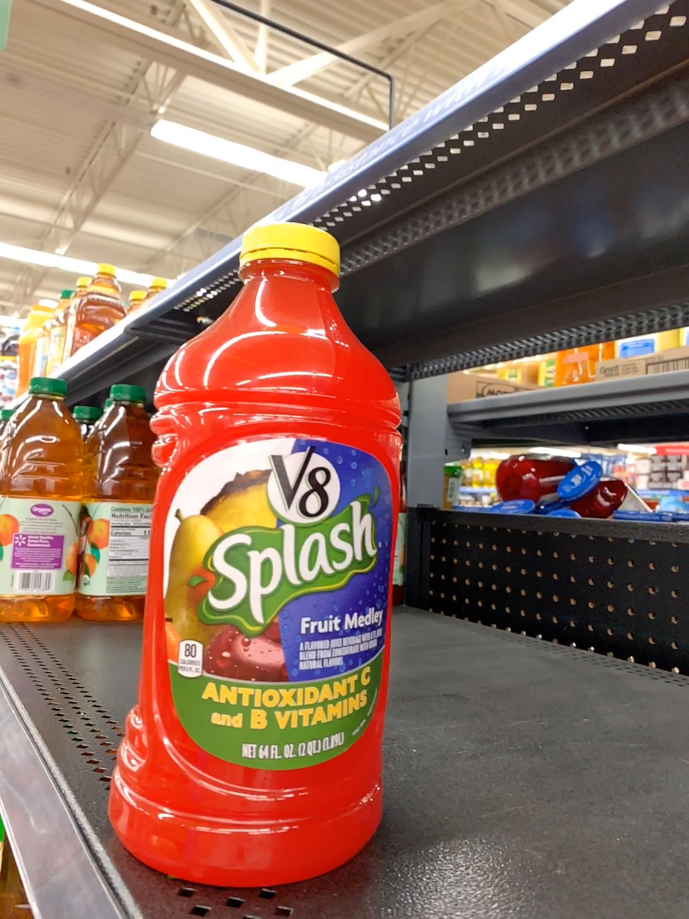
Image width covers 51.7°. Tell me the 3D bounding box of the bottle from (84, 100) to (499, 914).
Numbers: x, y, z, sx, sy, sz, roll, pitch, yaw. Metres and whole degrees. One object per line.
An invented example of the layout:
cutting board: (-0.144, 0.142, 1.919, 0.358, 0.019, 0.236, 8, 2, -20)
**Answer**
bottle: (-0.028, 0.016, 0.311, 0.140, 0.265, 0.122, 3, -4, -17)
